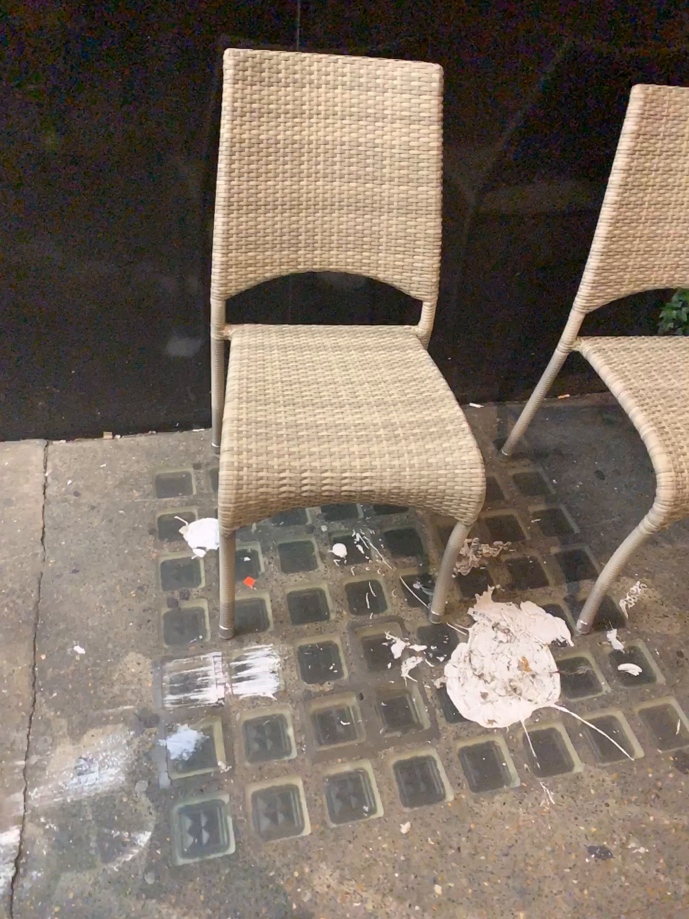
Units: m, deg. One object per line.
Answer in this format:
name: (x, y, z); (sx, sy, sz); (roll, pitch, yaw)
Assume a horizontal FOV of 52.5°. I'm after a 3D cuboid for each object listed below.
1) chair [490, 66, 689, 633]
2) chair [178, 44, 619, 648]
chair: (0.737, -0.205, 1.391); (0.580, 0.902, 0.605); (-1, 37, -7)
chair: (-0.005, -0.173, 1.250); (0.480, 0.832, 0.616); (-2, 45, -9)
